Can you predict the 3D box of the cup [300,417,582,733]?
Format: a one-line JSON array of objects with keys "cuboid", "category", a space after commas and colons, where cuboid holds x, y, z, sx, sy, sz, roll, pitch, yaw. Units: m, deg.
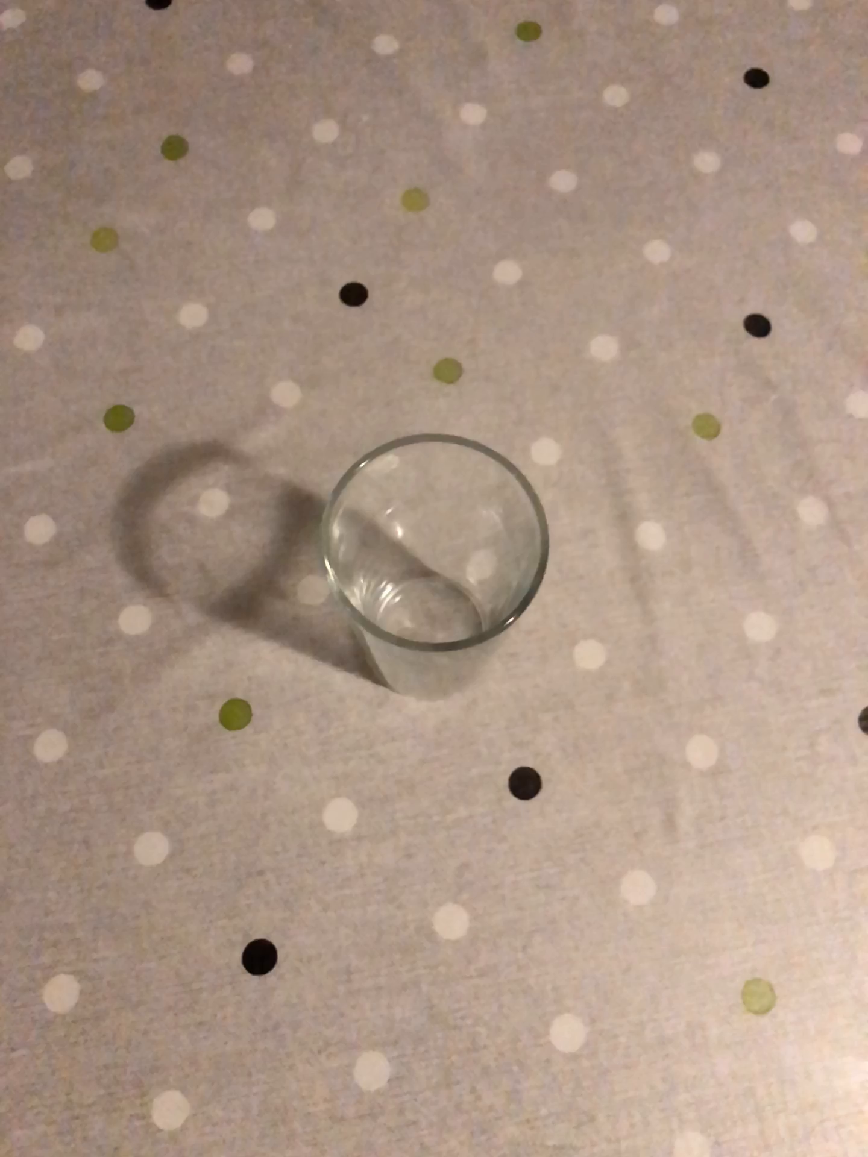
[{"cuboid": [0.000, 0.006, 0.321, 0.069, 0.118, 0.068, 0, 74, -1], "category": "cup"}]
